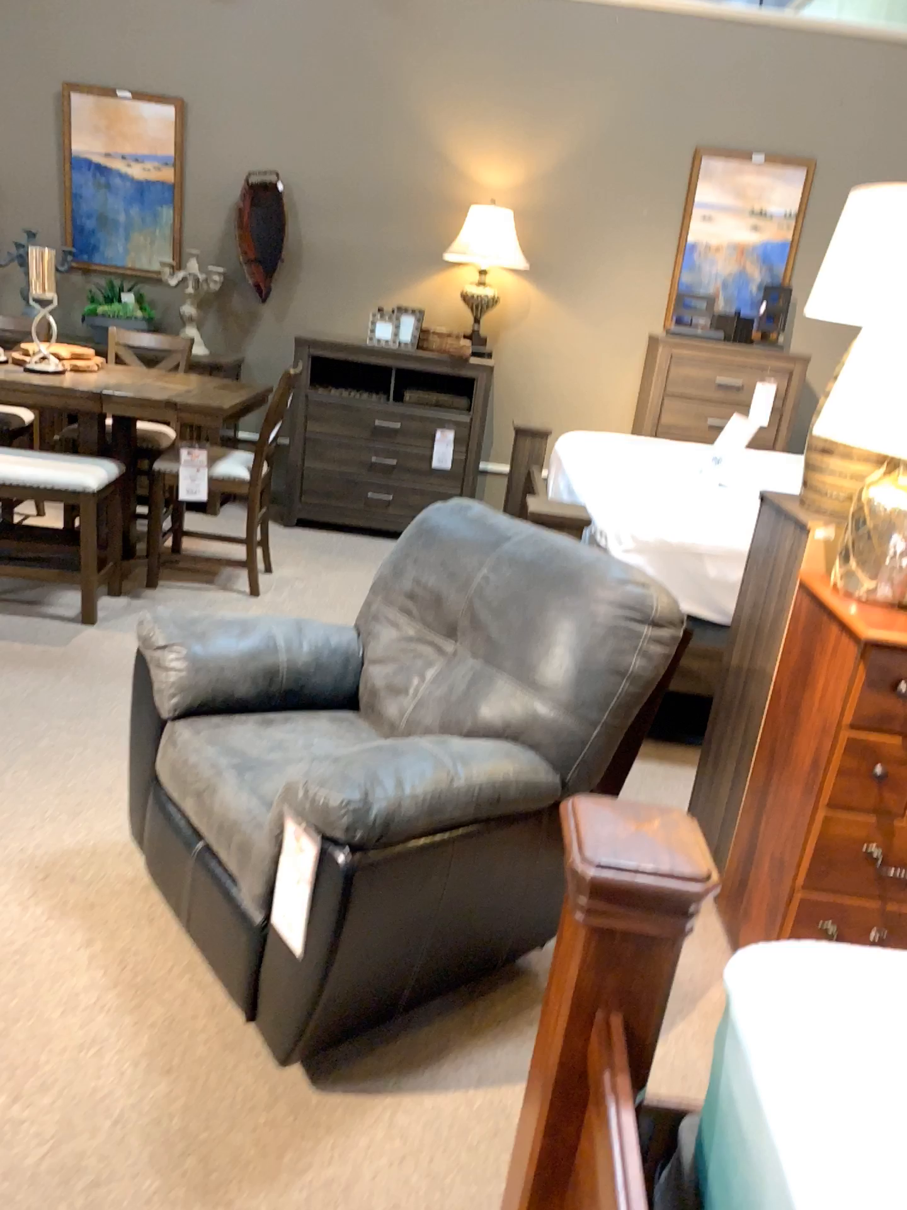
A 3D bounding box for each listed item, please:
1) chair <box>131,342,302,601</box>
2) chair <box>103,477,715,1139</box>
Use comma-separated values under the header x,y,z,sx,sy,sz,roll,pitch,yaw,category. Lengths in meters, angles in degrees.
x,y,z,sx,sy,sz,roll,pitch,yaw,category
-1.046,-0.602,4.097,0.624,1.003,0.490,5,19,-5,chair
-0.180,0.286,2.096,0.904,0.923,0.992,-7,24,-36,chair
